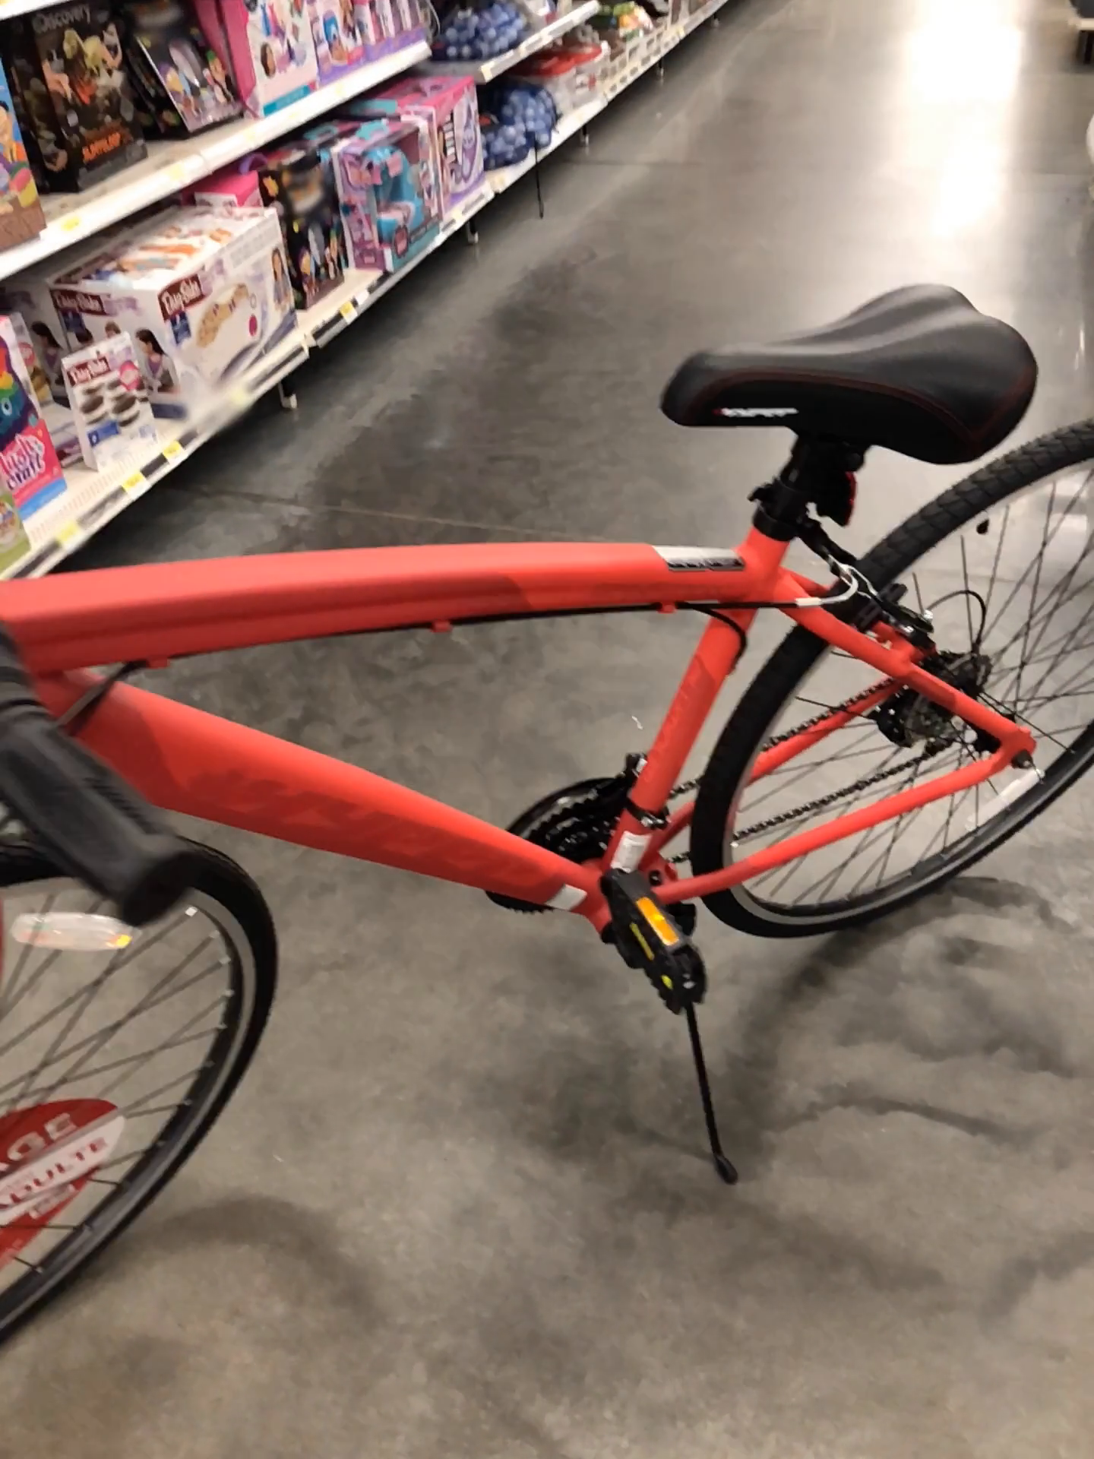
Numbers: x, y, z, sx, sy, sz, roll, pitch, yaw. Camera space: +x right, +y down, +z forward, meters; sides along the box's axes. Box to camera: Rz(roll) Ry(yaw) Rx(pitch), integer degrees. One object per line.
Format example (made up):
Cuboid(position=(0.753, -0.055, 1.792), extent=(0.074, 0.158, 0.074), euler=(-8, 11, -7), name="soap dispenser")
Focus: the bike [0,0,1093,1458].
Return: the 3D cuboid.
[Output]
Cuboid(position=(-0.001, 0.070, 0.928), extent=(1.689, 1.000, 0.616), euler=(-25, 43, -21), name="bike")
